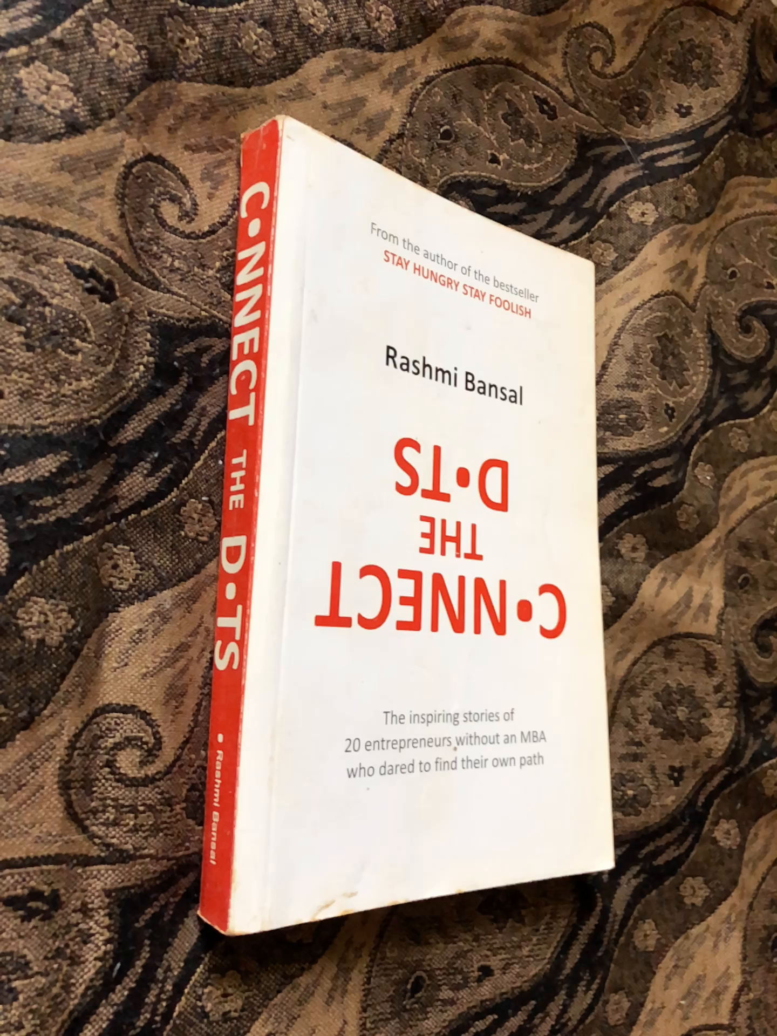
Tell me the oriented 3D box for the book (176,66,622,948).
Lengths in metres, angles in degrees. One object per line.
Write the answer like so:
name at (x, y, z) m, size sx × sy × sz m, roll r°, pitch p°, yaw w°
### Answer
book at (0.011, -0.002, 0.267) m, size 0.131 × 0.040 × 0.220 m, roll 8°, pitch 79°, yaw -35°
